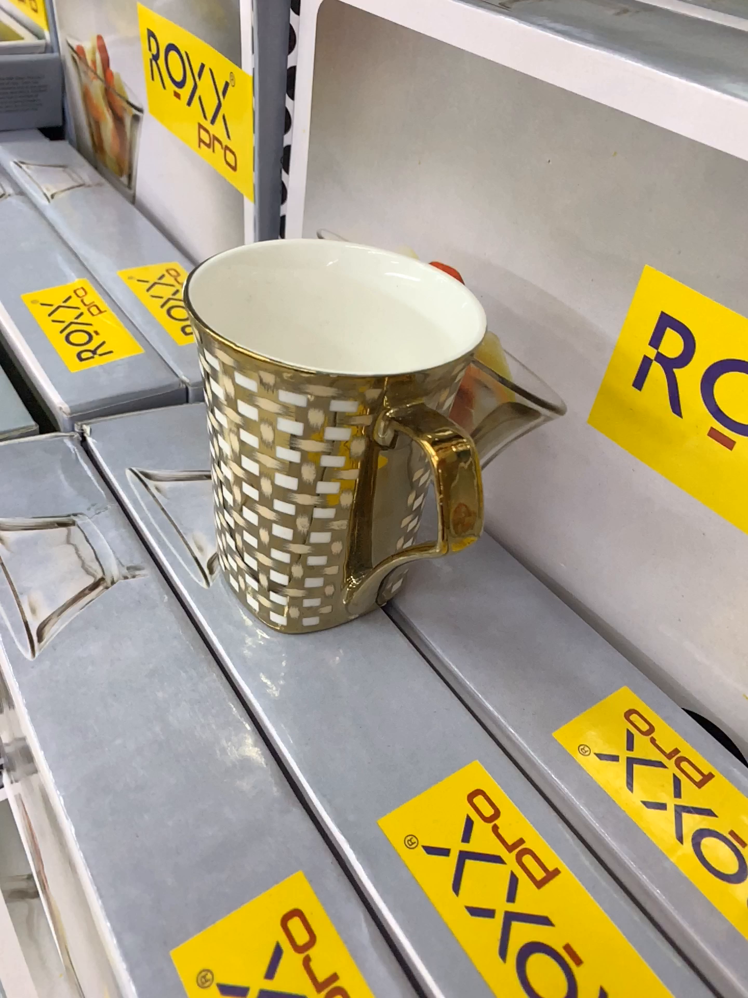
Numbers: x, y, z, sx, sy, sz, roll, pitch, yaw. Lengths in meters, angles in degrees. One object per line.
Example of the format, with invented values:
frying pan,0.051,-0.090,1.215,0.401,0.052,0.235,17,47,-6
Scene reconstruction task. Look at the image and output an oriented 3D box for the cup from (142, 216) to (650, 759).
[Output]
cup,-0.005,-0.012,0.228,0.082,0.091,0.113,-18,47,-28
